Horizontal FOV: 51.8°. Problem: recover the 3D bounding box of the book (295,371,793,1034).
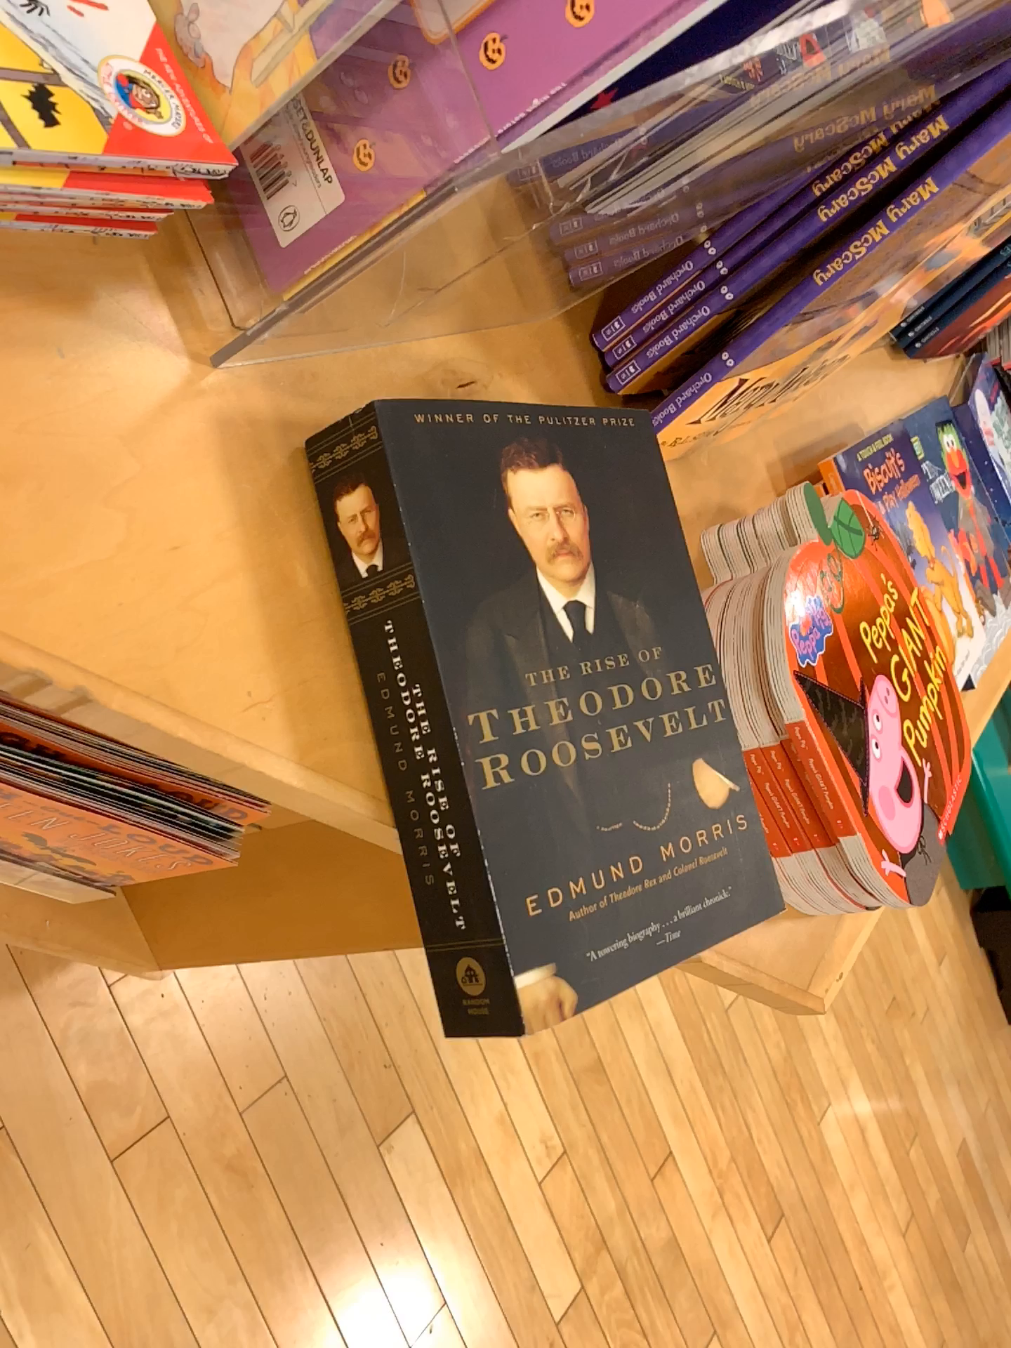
[{"bbox_3d":[0.019,0.007,0.368,0.131,0.066,0.195,-9,84,-50],"label":"book"}]
